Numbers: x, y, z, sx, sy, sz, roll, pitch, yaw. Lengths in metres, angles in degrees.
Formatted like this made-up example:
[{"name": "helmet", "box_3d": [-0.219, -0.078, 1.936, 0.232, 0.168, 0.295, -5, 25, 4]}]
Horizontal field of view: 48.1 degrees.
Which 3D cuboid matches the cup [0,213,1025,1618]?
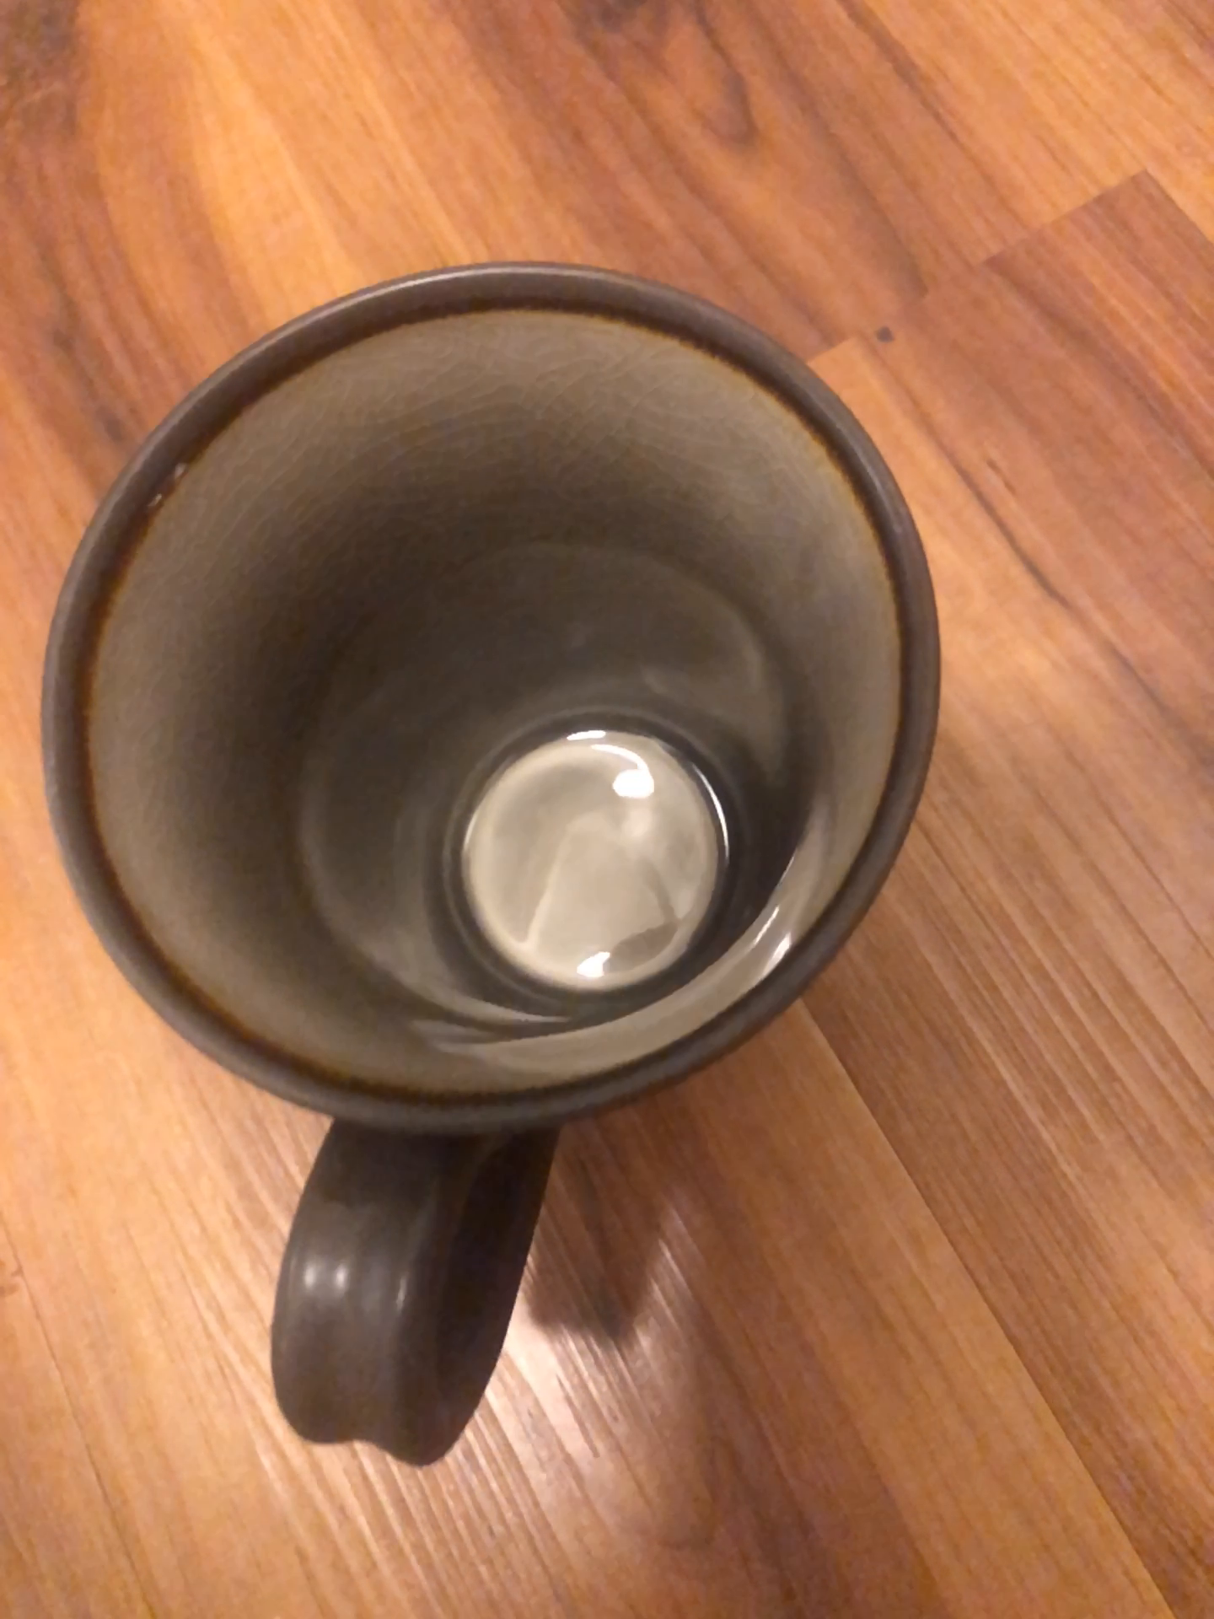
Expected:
[{"name": "cup", "box_3d": [-0.011, 0.014, 0.202, 0.114, 0.100, 0.154, 7, 75, 10]}]
